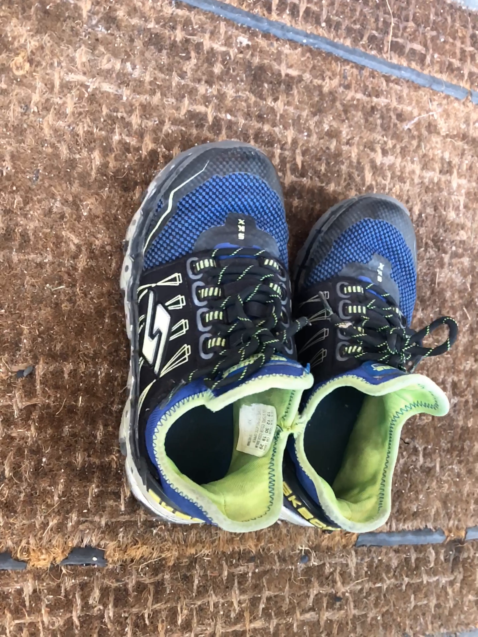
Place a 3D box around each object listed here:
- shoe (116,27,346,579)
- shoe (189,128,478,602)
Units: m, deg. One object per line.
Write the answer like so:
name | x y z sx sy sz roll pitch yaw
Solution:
shoe | -0.010 -0.007 0.283 0.090 0.100 0.230 2 86 -22
shoe | 0.063 0.022 0.292 0.090 0.100 0.200 25 78 -19
